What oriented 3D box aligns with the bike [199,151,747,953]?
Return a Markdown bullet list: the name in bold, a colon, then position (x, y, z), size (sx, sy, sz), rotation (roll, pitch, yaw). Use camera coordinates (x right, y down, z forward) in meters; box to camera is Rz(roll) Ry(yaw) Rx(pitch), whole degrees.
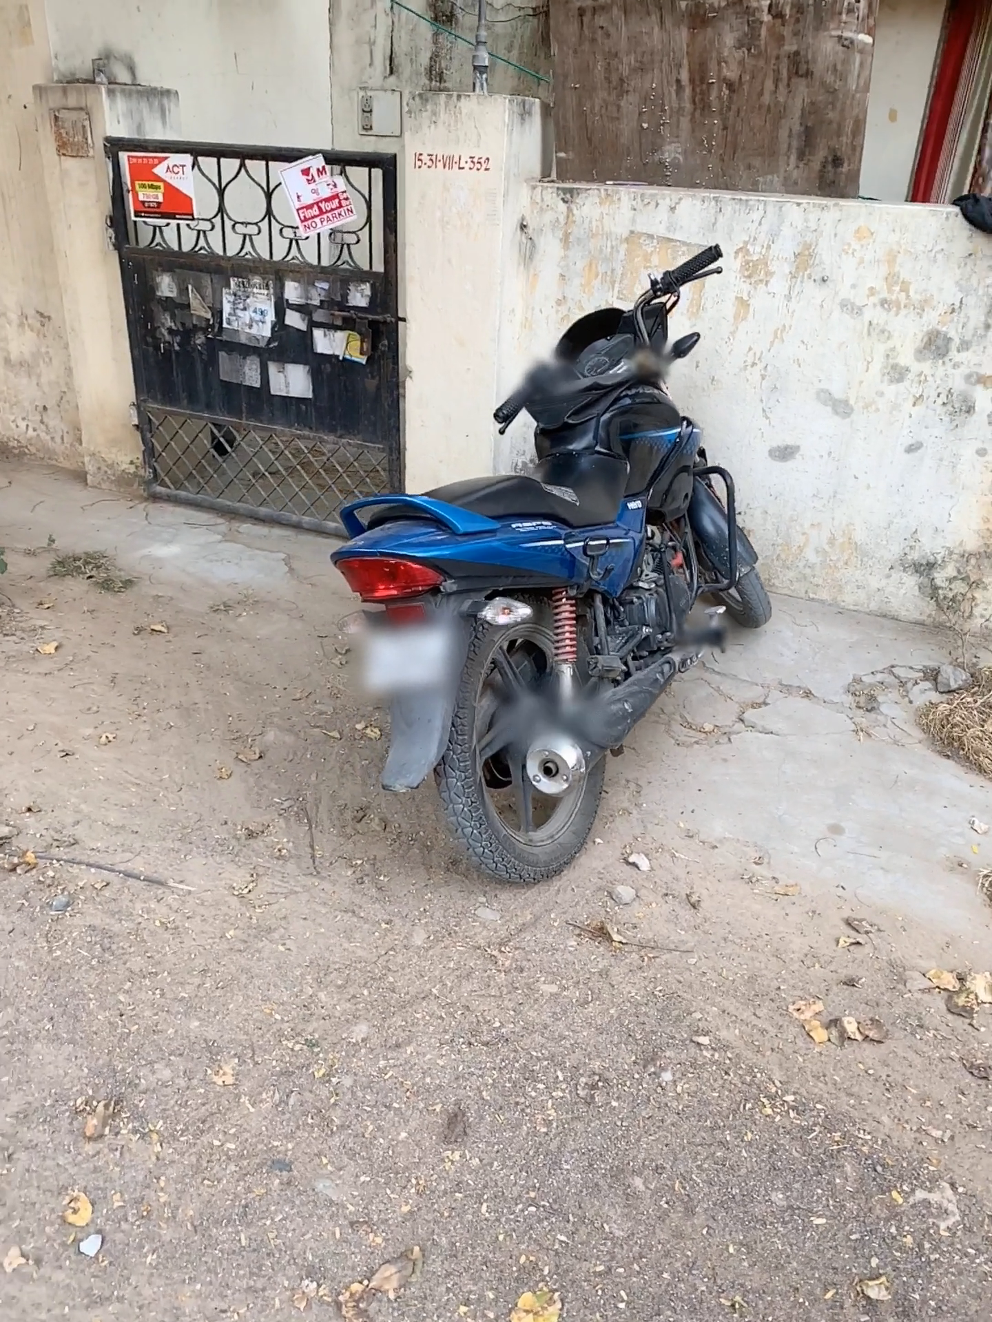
- **bike**: position (0.060, -0.502, 2.584), size (0.754, 1.233, 1.712), rotation (12, 32, 17)
